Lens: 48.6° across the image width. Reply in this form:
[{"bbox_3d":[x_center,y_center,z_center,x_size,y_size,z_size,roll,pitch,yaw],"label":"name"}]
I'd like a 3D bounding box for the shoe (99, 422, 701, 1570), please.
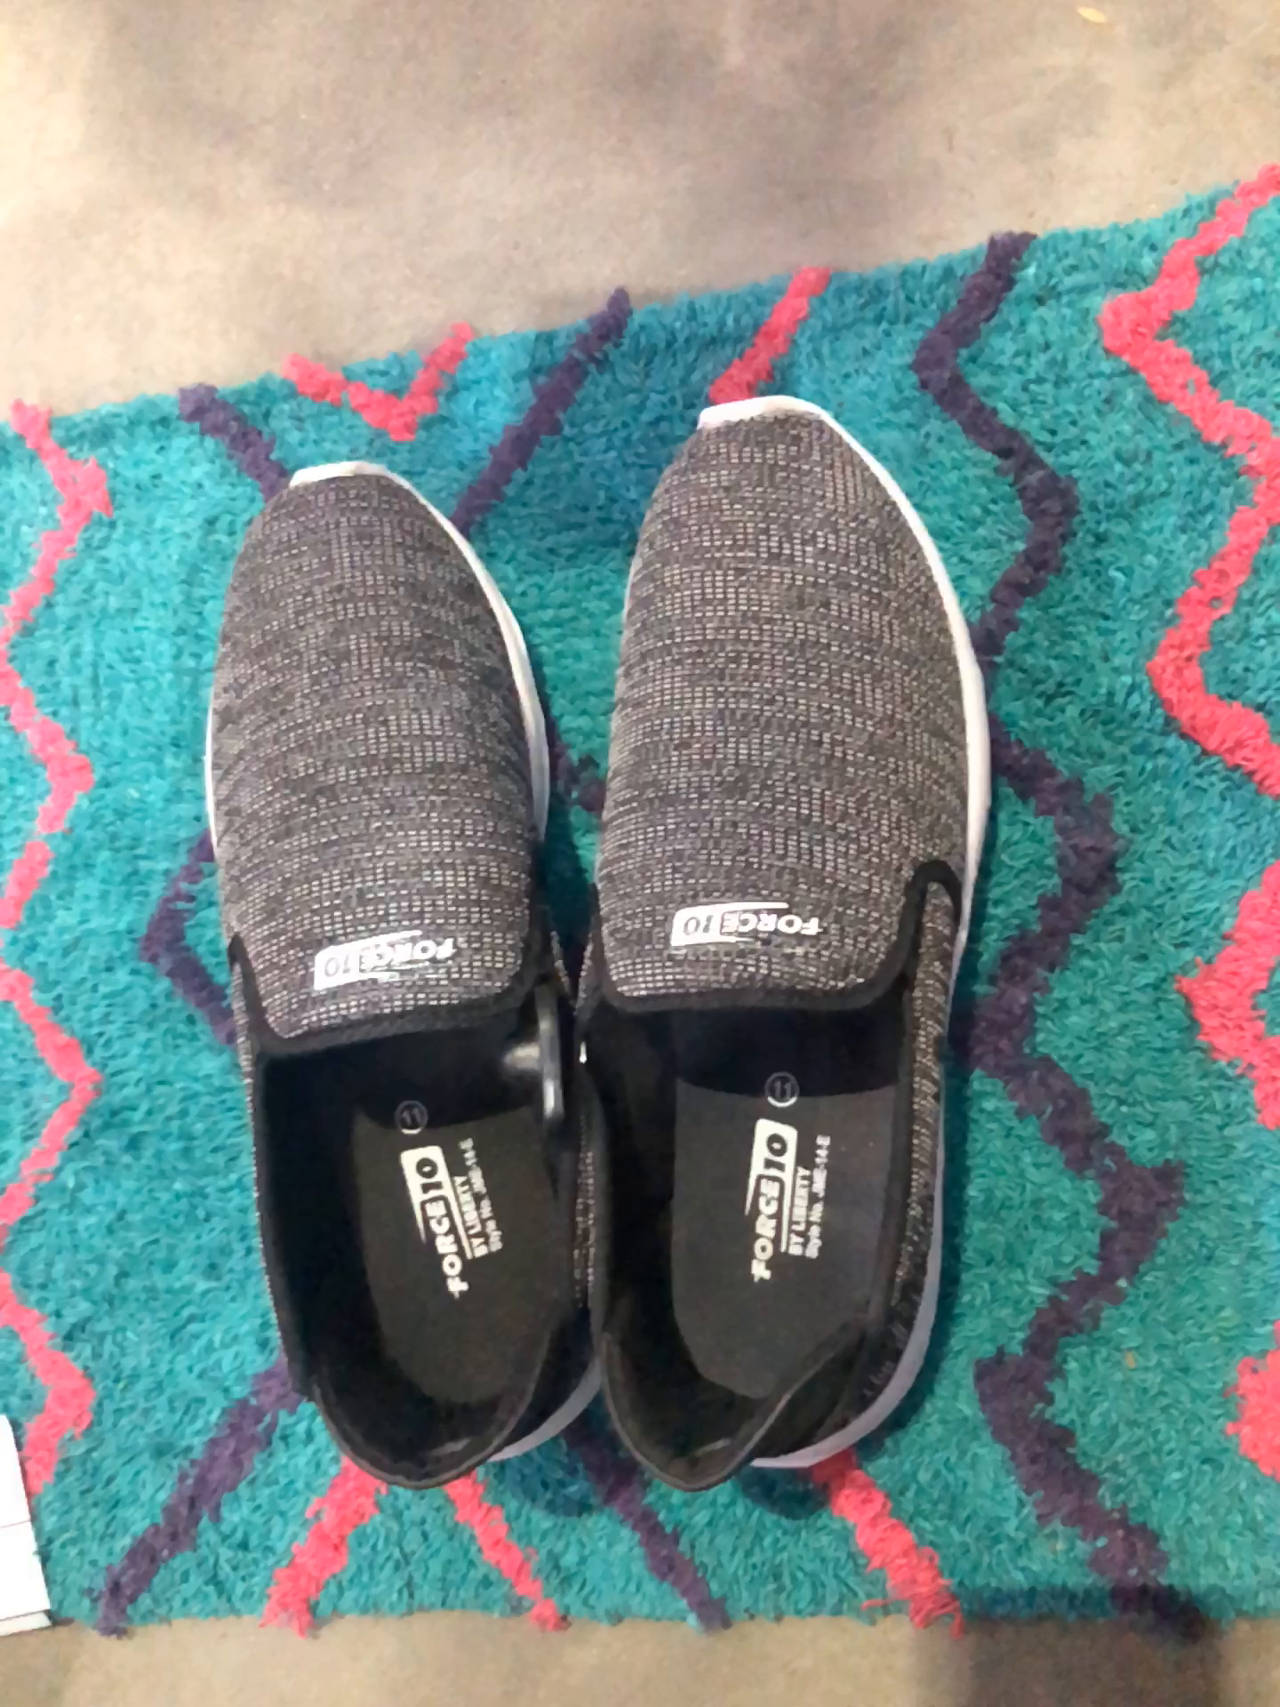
[{"bbox_3d":[-0.071,0.040,0.440,0.110,0.100,0.300,-12,81,11],"label":"shoe"}]

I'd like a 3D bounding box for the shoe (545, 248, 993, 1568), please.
[{"bbox_3d":[0.042,0.011,0.414,0.110,0.100,0.330,-1,83,12],"label":"shoe"}]
